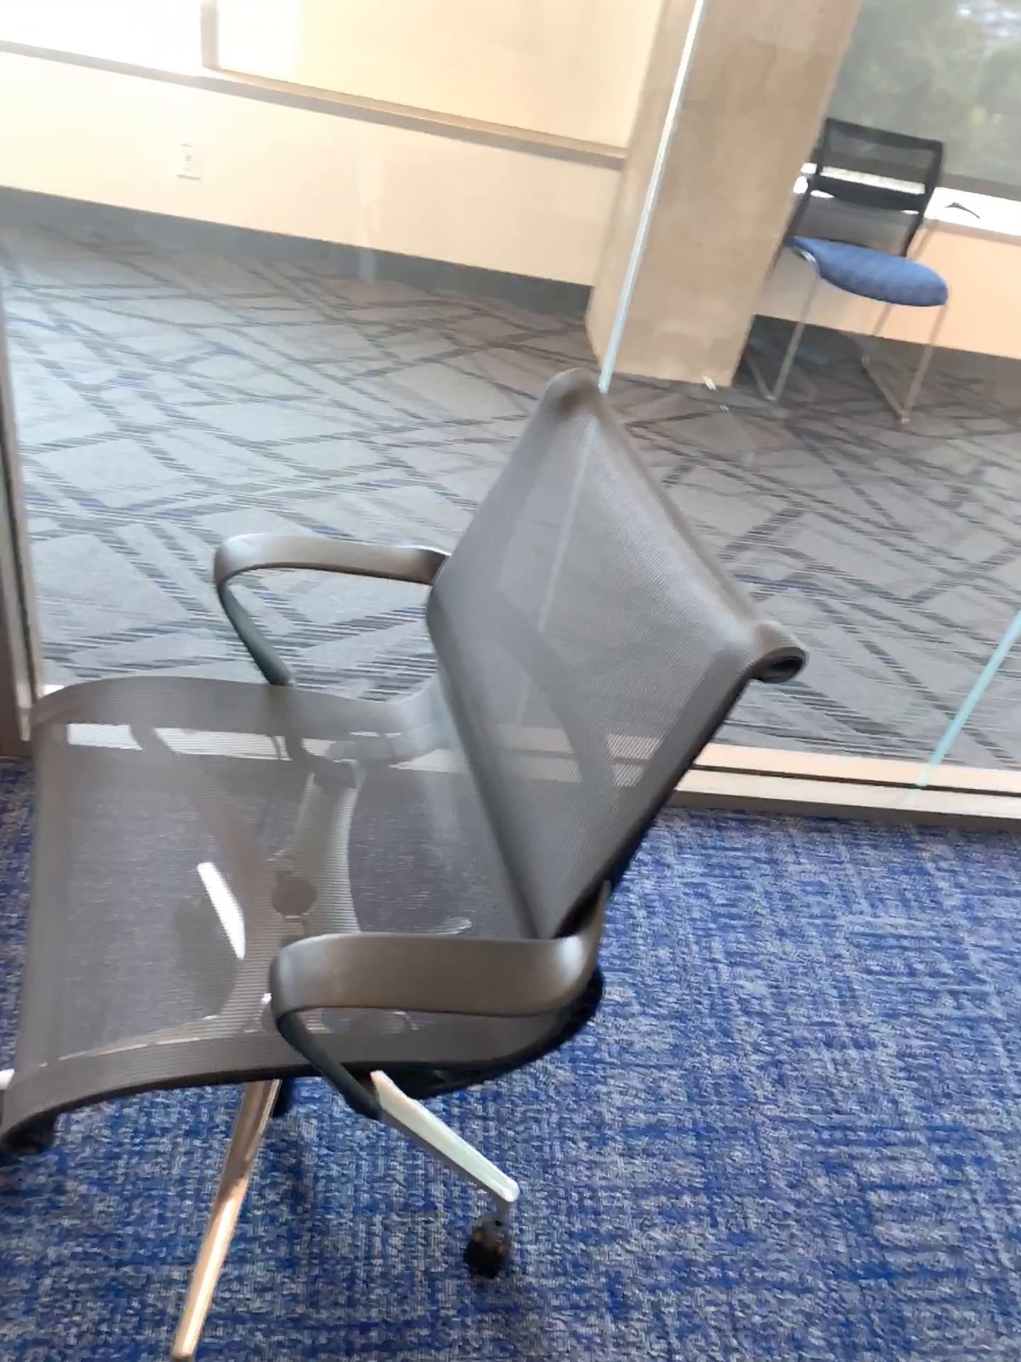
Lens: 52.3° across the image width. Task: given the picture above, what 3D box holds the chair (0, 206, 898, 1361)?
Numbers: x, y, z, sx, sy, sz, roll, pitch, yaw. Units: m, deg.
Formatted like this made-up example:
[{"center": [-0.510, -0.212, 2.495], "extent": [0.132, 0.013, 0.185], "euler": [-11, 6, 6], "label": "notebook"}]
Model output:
[{"center": [-0.265, 0.130, 0.909], "extent": [0.641, 0.773, 0.665], "euler": [-2, 40, -20], "label": "chair"}]
